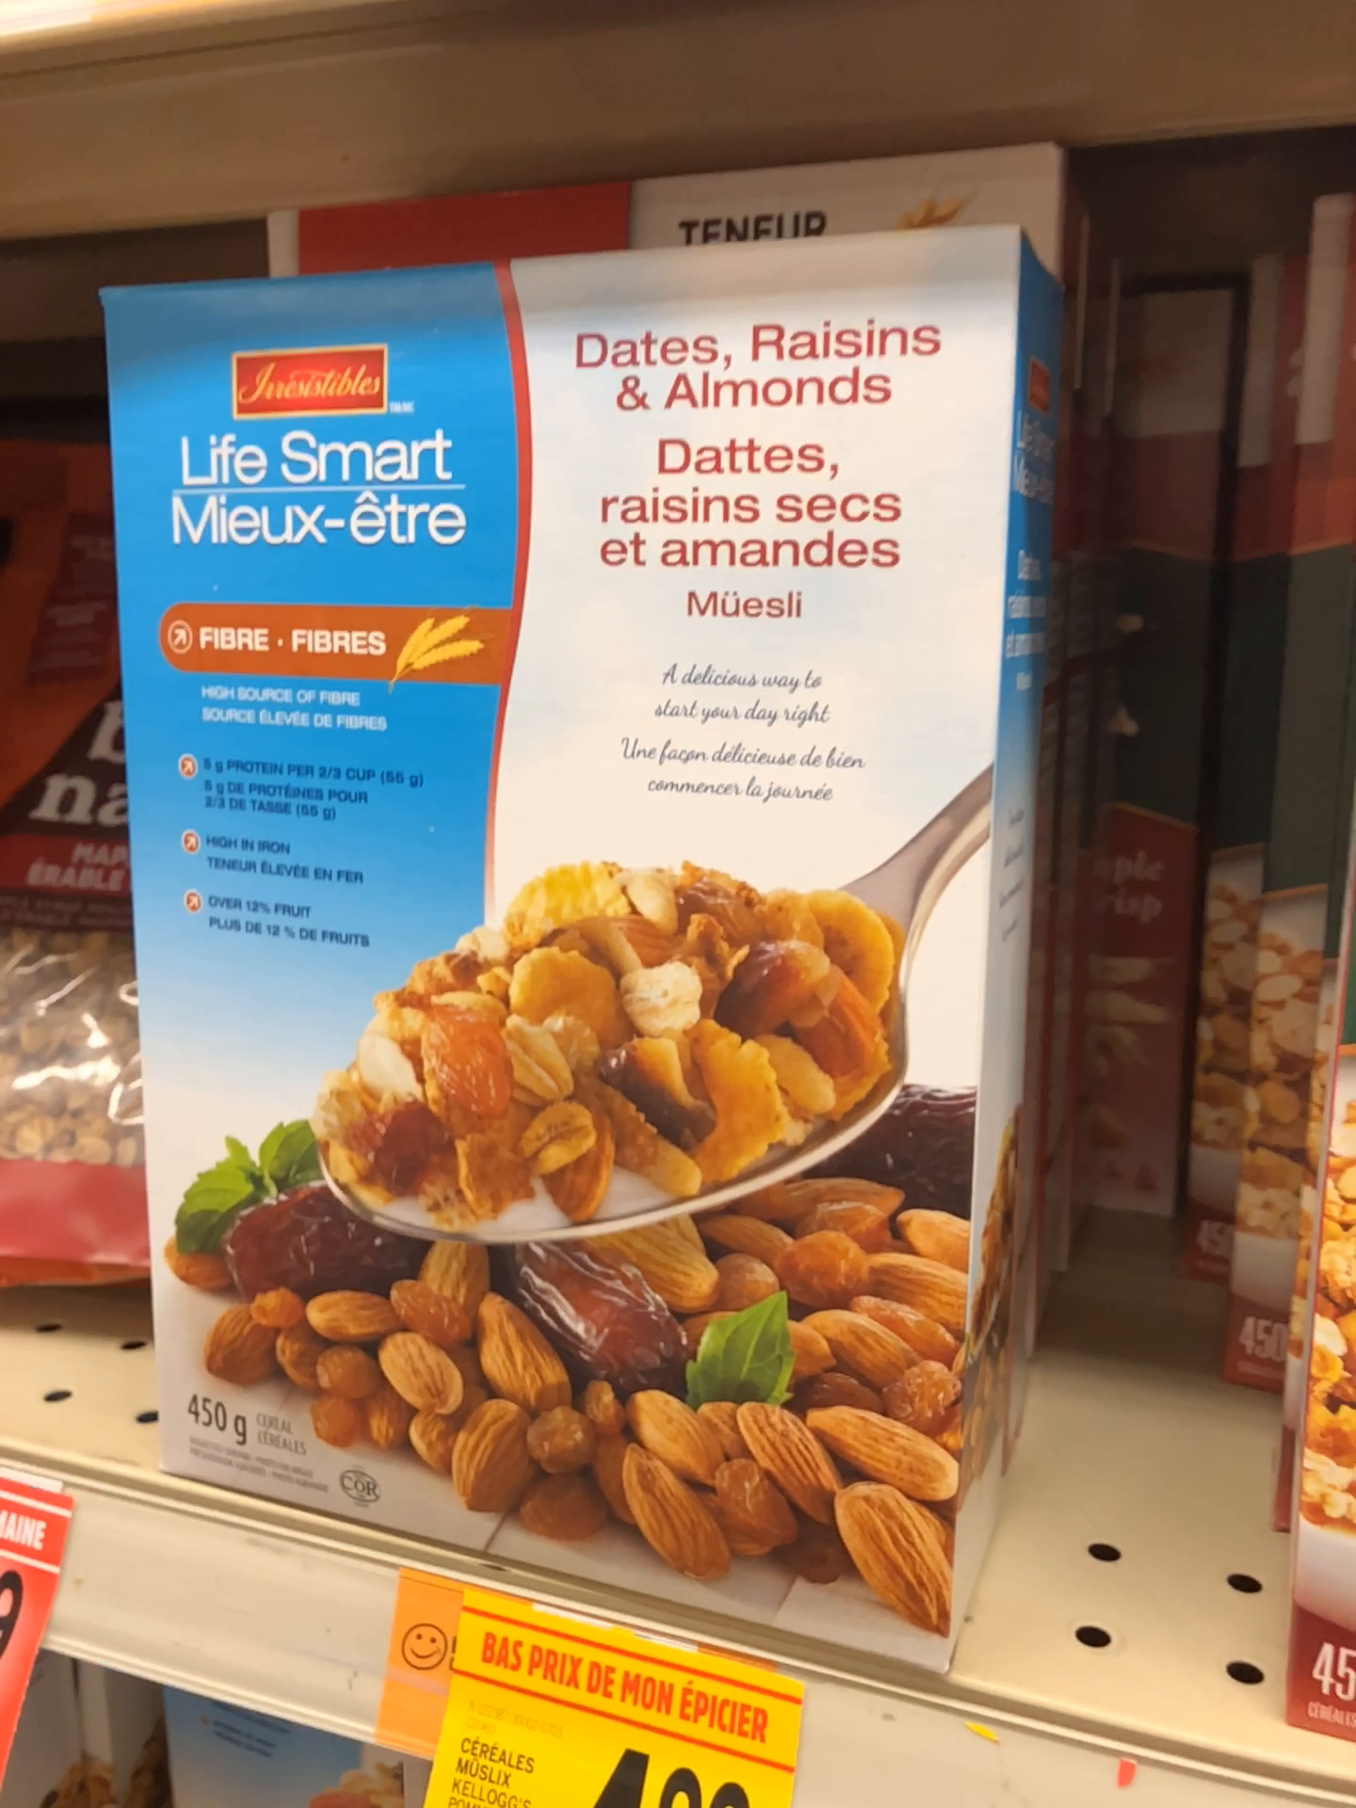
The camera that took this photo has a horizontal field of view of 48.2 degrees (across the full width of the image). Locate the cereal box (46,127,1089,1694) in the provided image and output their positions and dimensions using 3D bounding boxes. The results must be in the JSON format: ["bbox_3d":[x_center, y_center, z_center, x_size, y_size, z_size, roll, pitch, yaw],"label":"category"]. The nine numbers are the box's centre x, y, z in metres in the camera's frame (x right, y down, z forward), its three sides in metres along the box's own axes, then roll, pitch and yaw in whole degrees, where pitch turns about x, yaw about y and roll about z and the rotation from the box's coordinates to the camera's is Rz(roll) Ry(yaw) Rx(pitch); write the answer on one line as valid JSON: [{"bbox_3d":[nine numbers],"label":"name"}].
[{"bbox_3d":[-0.022,0.001,0.279,0.170,0.239,0.050,5,13,21],"label":"cereal box"}]
